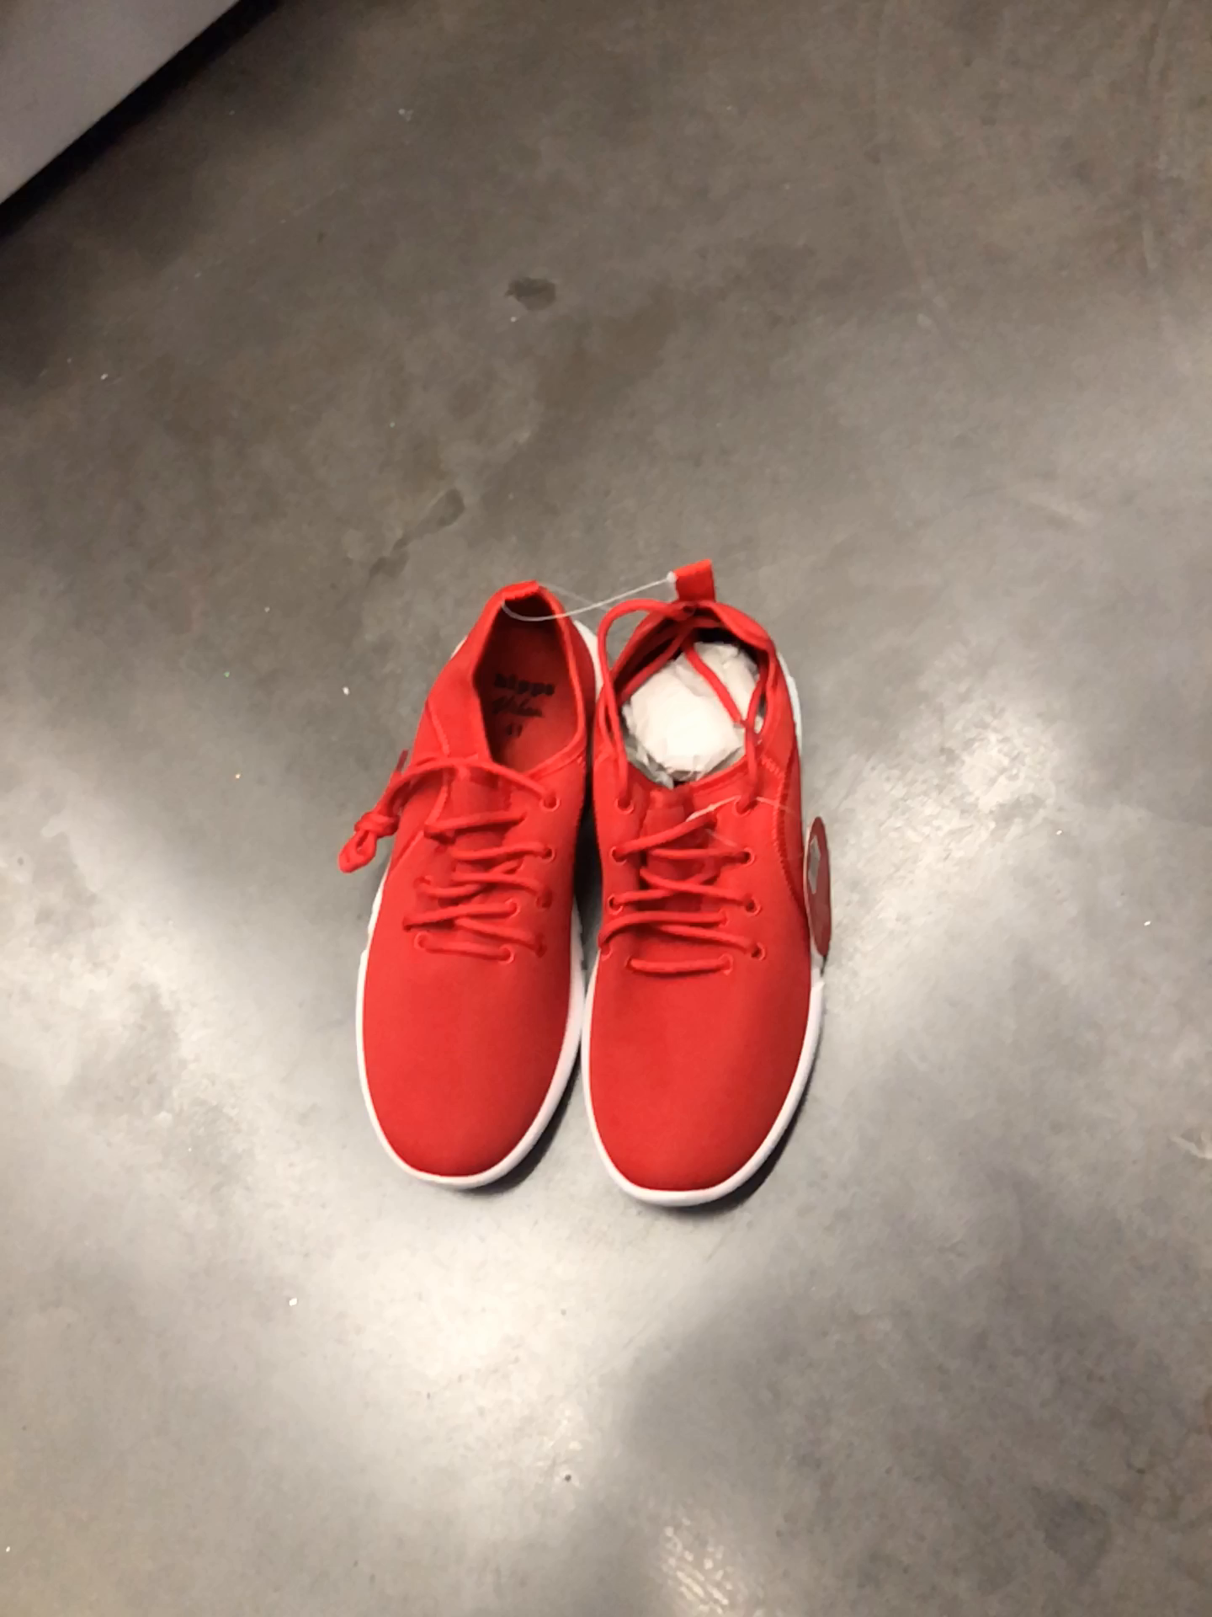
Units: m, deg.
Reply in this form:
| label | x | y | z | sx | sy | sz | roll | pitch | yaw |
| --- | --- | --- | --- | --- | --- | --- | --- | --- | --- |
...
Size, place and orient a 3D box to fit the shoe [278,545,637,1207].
| label | x | y | z | sx | sy | sz | roll | pitch | yaw |
| --- | --- | --- | --- | --- | --- | --- | --- | --- | --- |
| shoe | -0.050 | 0.026 | 0.550 | 0.100 | 0.100 | 0.251 | 2 | 69 | 7 |

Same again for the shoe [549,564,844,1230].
| label | x | y | z | sx | sy | sz | roll | pitch | yaw |
| --- | --- | --- | --- | --- | --- | --- | --- | --- | --- |
| shoe | 0.043 | 0.035 | 0.546 | 0.100 | 0.100 | 0.251 | 1 | 69 | 7 |
